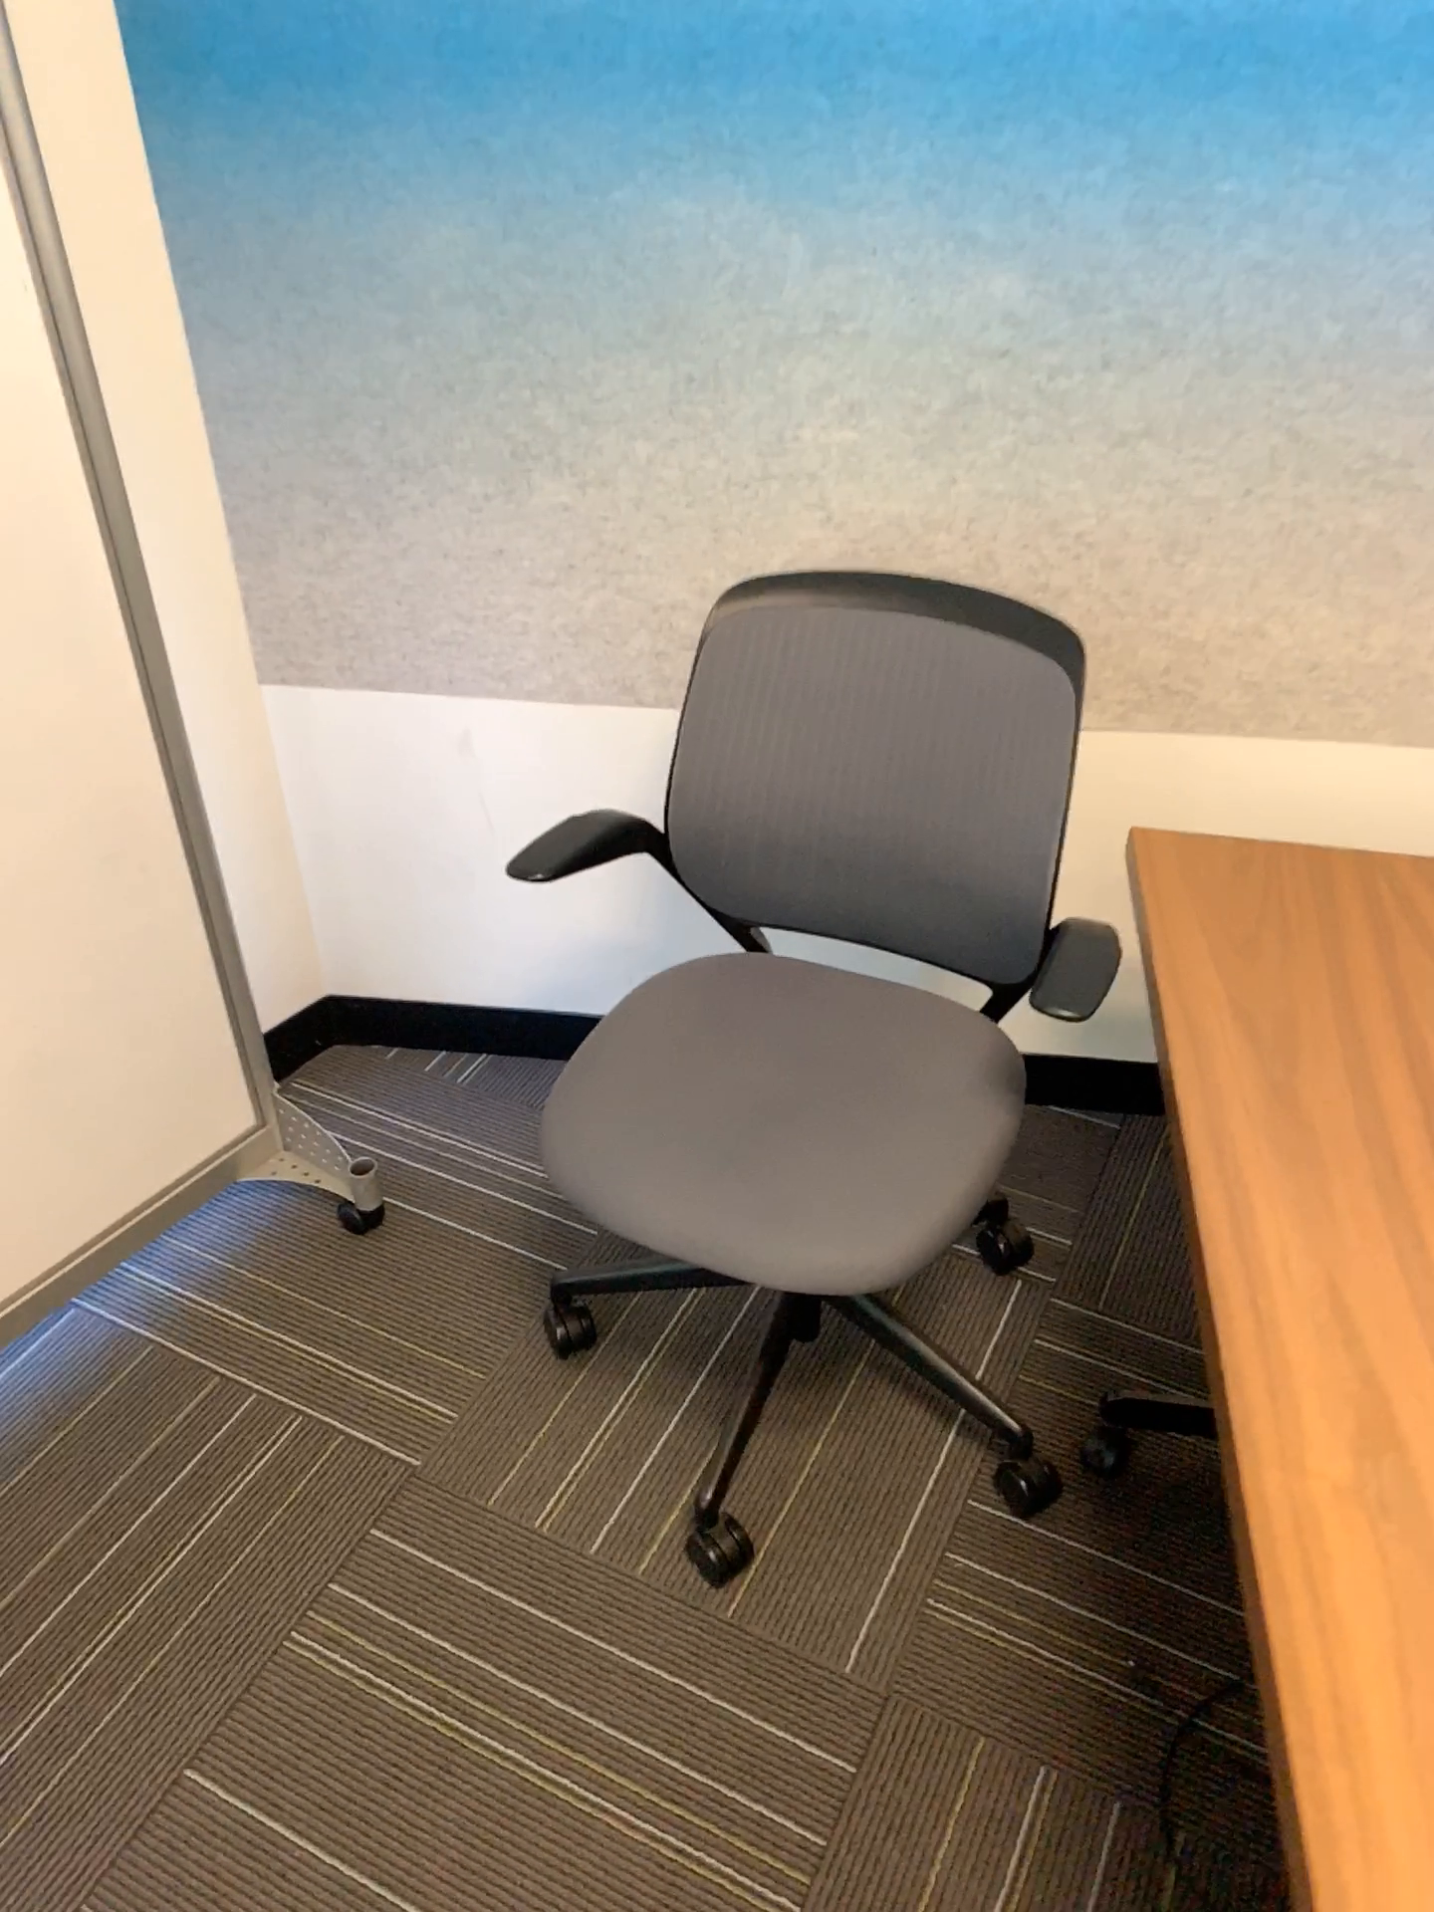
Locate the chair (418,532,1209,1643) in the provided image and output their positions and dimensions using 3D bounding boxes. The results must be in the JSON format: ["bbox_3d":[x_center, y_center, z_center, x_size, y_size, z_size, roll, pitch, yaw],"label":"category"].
[{"bbox_3d":[0.103,0.121,1.578,0.542,0.935,0.531,17,36,23],"label":"chair"}]
